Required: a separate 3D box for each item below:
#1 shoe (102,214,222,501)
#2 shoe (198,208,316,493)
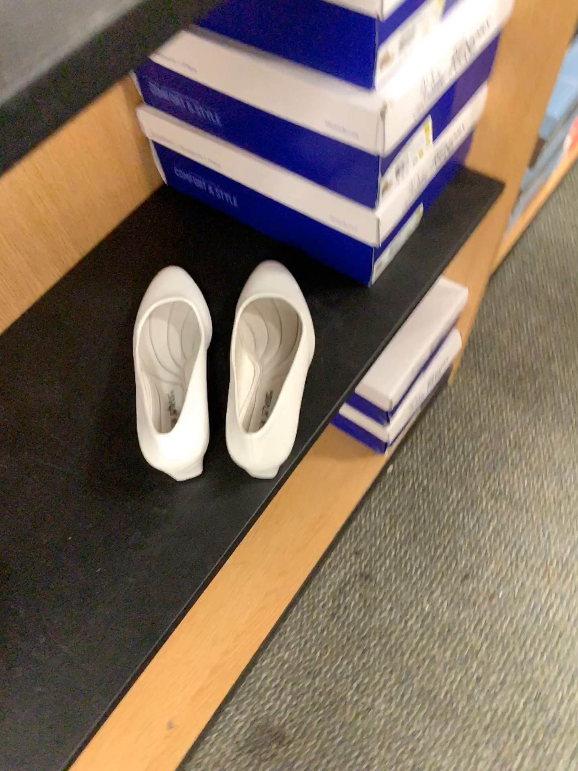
[{"bbox_3d":[-0.118,-0.030,0.566,0.080,0.100,0.251,-6,63,0],"label":"shoe"},{"bbox_3d":[-0.020,-0.036,0.566,0.090,0.110,0.251,0,63,3],"label":"shoe"}]
